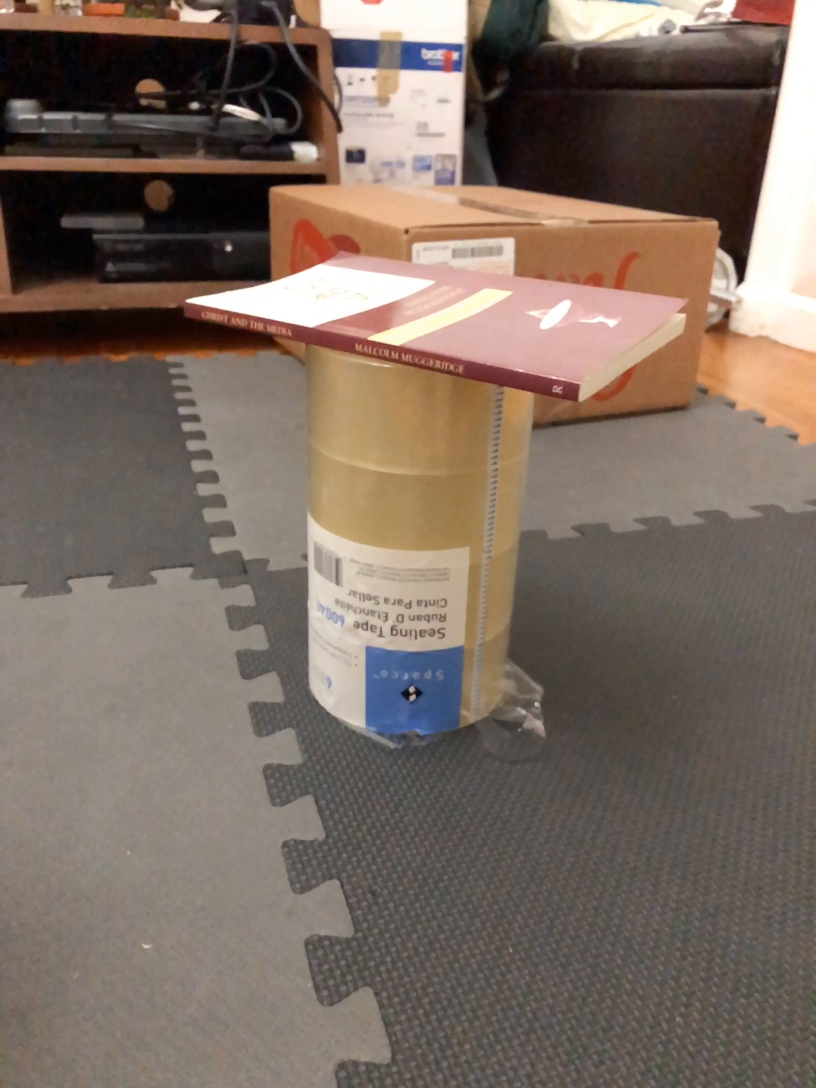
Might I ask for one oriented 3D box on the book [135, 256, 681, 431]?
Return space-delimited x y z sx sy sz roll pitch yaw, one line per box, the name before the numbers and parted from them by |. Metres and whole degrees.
book | 0.002 -0.103 0.421 0.210 0.020 0.141 17 30 26
